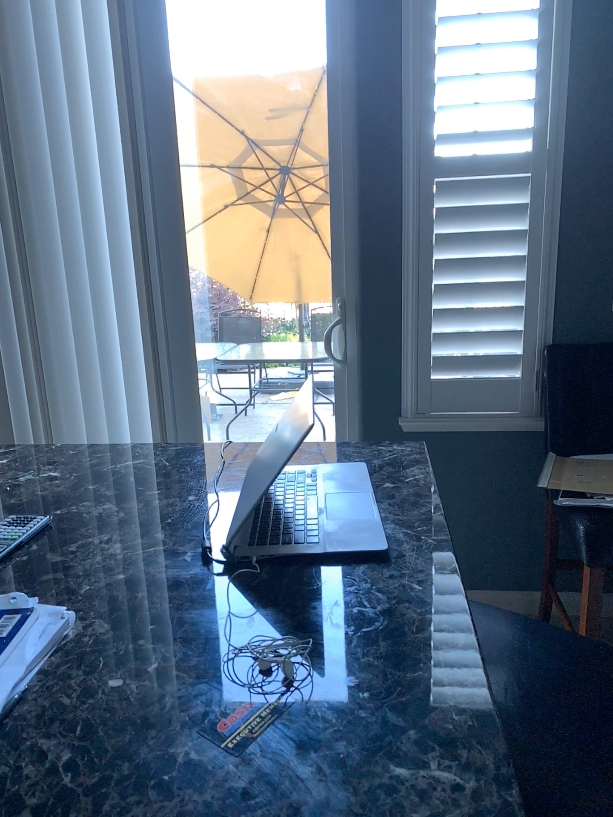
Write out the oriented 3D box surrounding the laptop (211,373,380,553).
[{"bbox_3d":[-0.011,0.072,1.065,0.233,0.188,0.363,-1,15,1],"label":"laptop"}]
